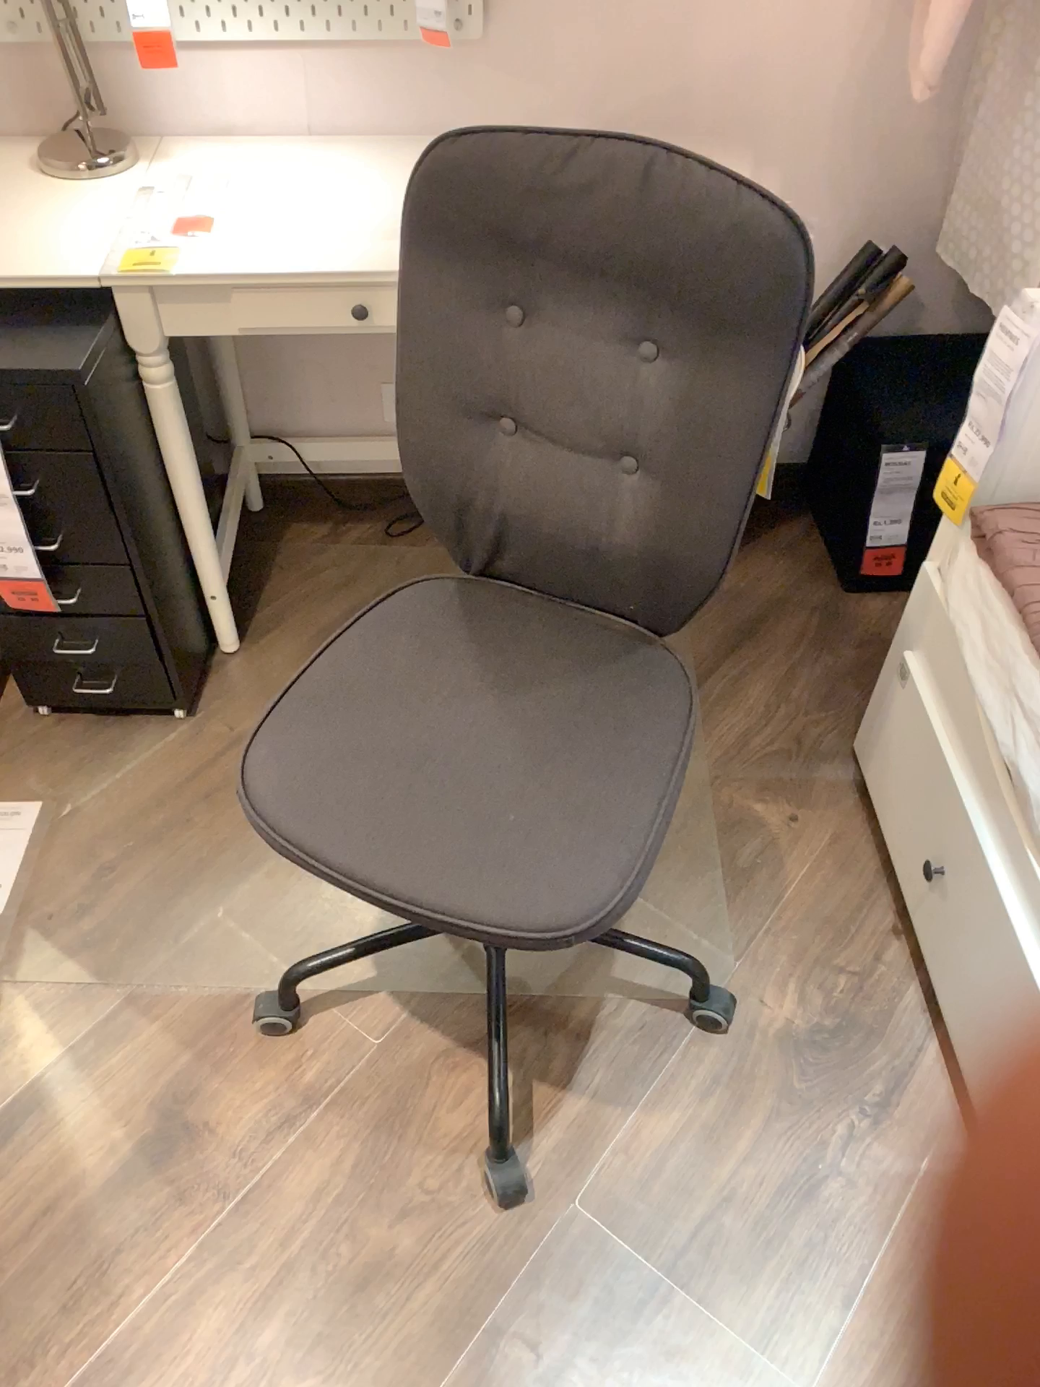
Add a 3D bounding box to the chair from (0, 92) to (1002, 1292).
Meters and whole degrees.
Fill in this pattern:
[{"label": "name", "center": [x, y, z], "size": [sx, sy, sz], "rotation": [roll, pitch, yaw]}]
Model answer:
[{"label": "chair", "center": [0.005, 0.020, 1.160], "size": [0.650, 0.947, 0.732], "rotation": [16, 49, 13]}]
